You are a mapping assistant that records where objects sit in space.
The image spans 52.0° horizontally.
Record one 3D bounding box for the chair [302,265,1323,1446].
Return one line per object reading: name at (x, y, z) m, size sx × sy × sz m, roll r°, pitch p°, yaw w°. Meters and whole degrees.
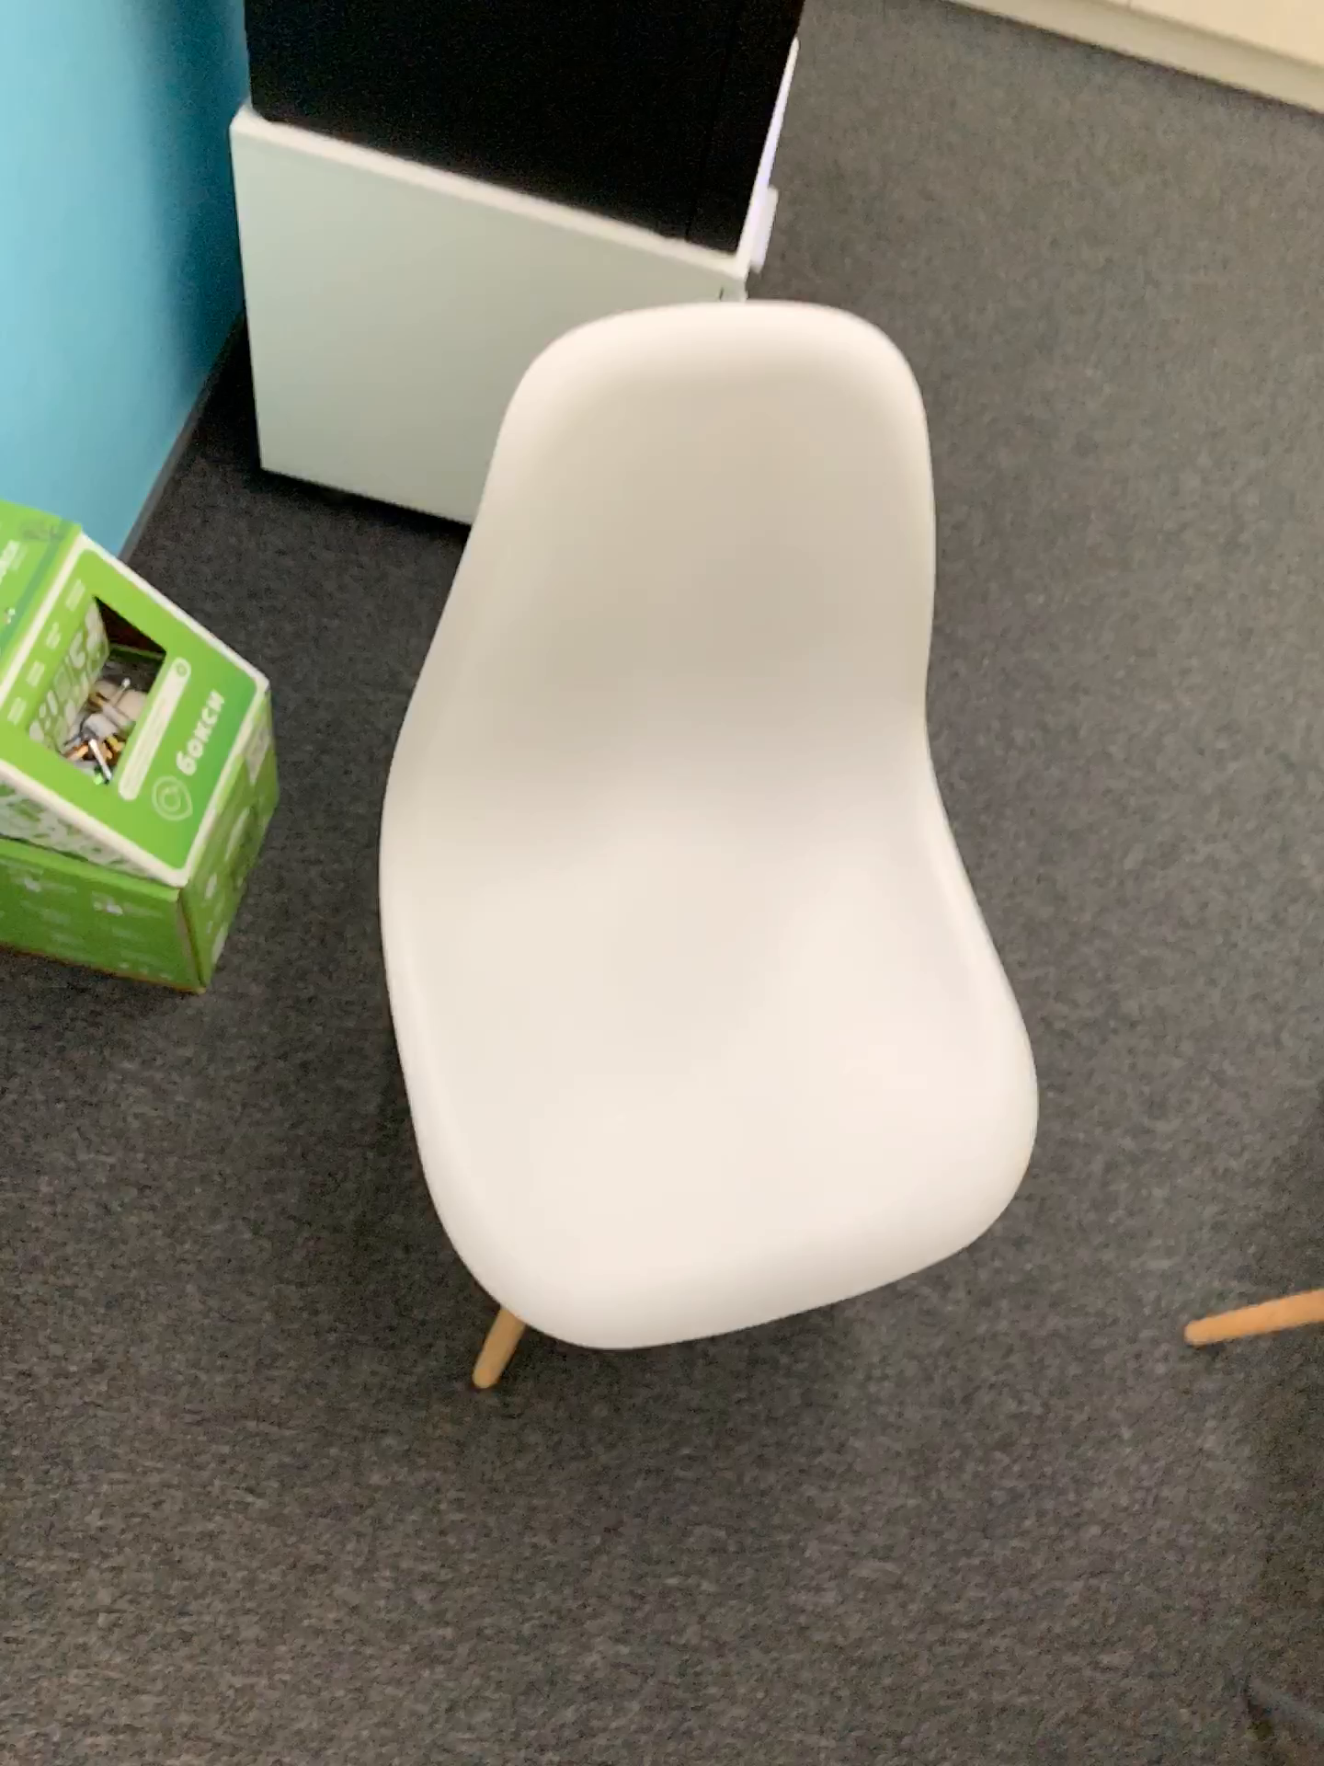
chair at (0.021, 0.058, 1.039) m, size 0.461 × 0.818 × 0.500 m, roll -10°, pitch 64°, yaw -17°
